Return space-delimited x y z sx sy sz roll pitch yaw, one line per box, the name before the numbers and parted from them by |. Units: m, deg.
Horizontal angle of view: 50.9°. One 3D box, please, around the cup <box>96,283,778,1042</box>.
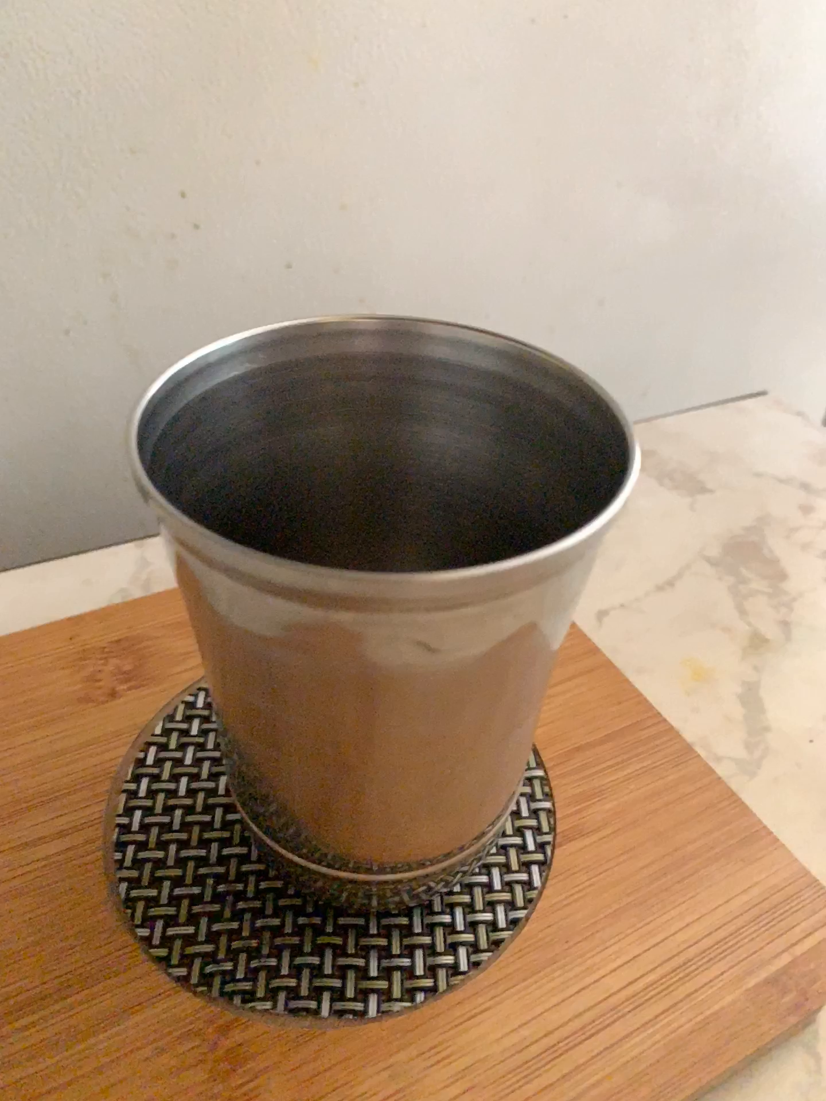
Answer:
cup | -0.003 0.016 0.151 0.072 0.091 0.071 2 39 -1
